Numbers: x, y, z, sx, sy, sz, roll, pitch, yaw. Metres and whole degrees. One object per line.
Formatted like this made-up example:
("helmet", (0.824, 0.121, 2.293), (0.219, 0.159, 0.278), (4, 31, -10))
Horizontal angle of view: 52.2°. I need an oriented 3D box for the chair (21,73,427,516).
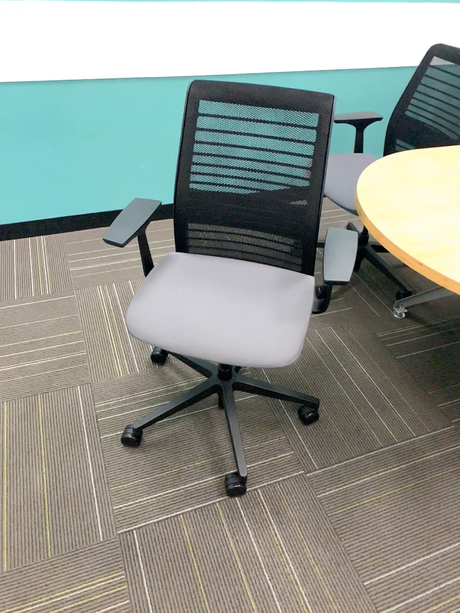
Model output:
("chair", (0.018, -0.062, 1.467), (0.730, 0.984, 0.845), (8, 39, 6))
